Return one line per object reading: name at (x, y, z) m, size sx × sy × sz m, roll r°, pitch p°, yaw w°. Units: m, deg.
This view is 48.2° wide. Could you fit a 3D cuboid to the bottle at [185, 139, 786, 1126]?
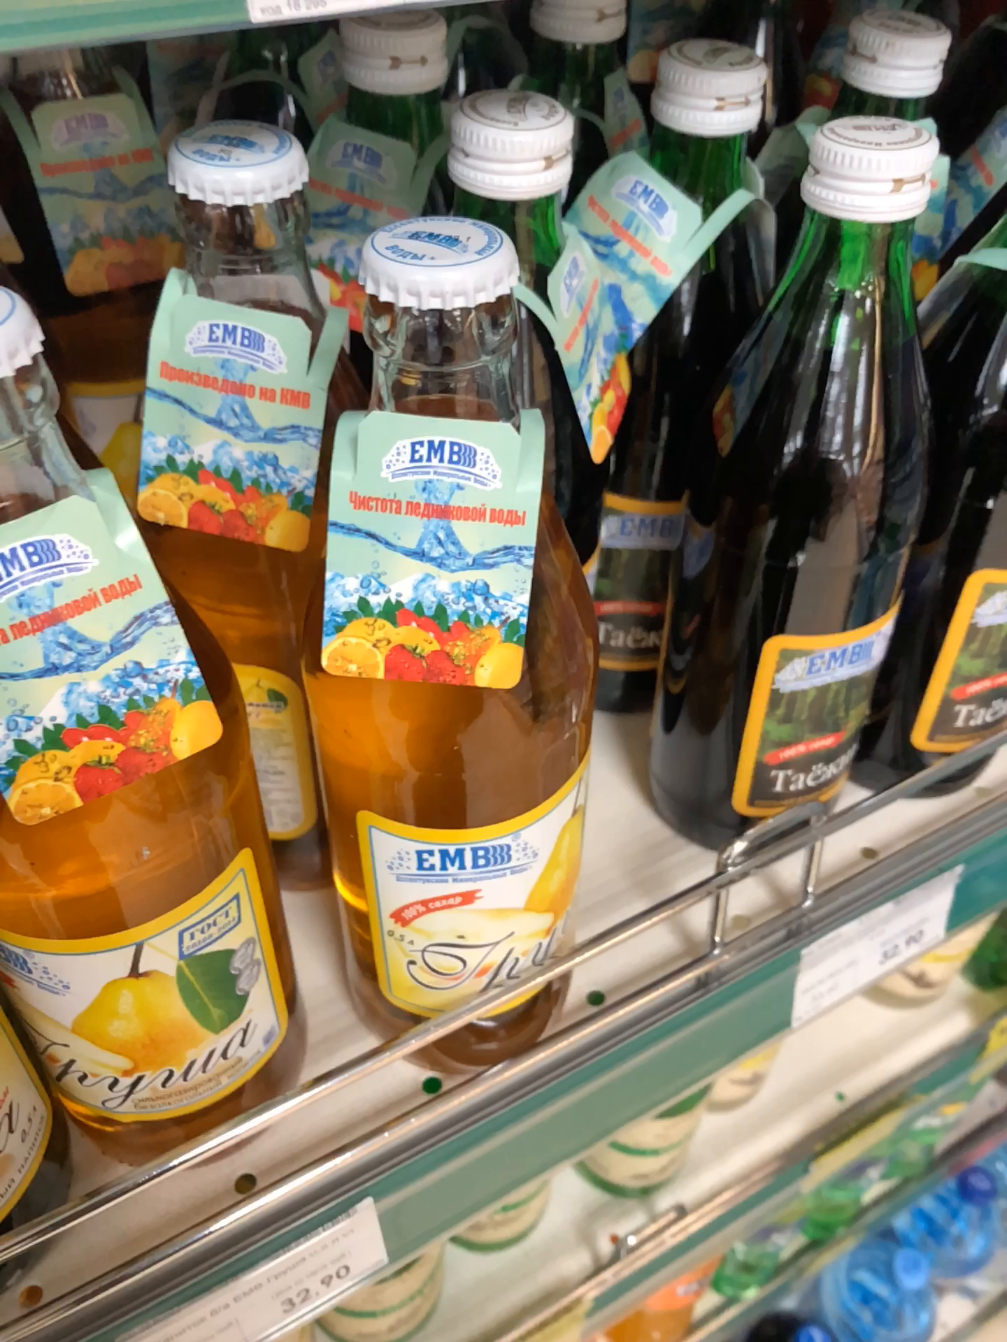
bottle at (-0.008, 0.009, 0.277) m, size 0.080 × 0.234 × 0.070 m, roll -23°, pitch 49°, yaw -25°
